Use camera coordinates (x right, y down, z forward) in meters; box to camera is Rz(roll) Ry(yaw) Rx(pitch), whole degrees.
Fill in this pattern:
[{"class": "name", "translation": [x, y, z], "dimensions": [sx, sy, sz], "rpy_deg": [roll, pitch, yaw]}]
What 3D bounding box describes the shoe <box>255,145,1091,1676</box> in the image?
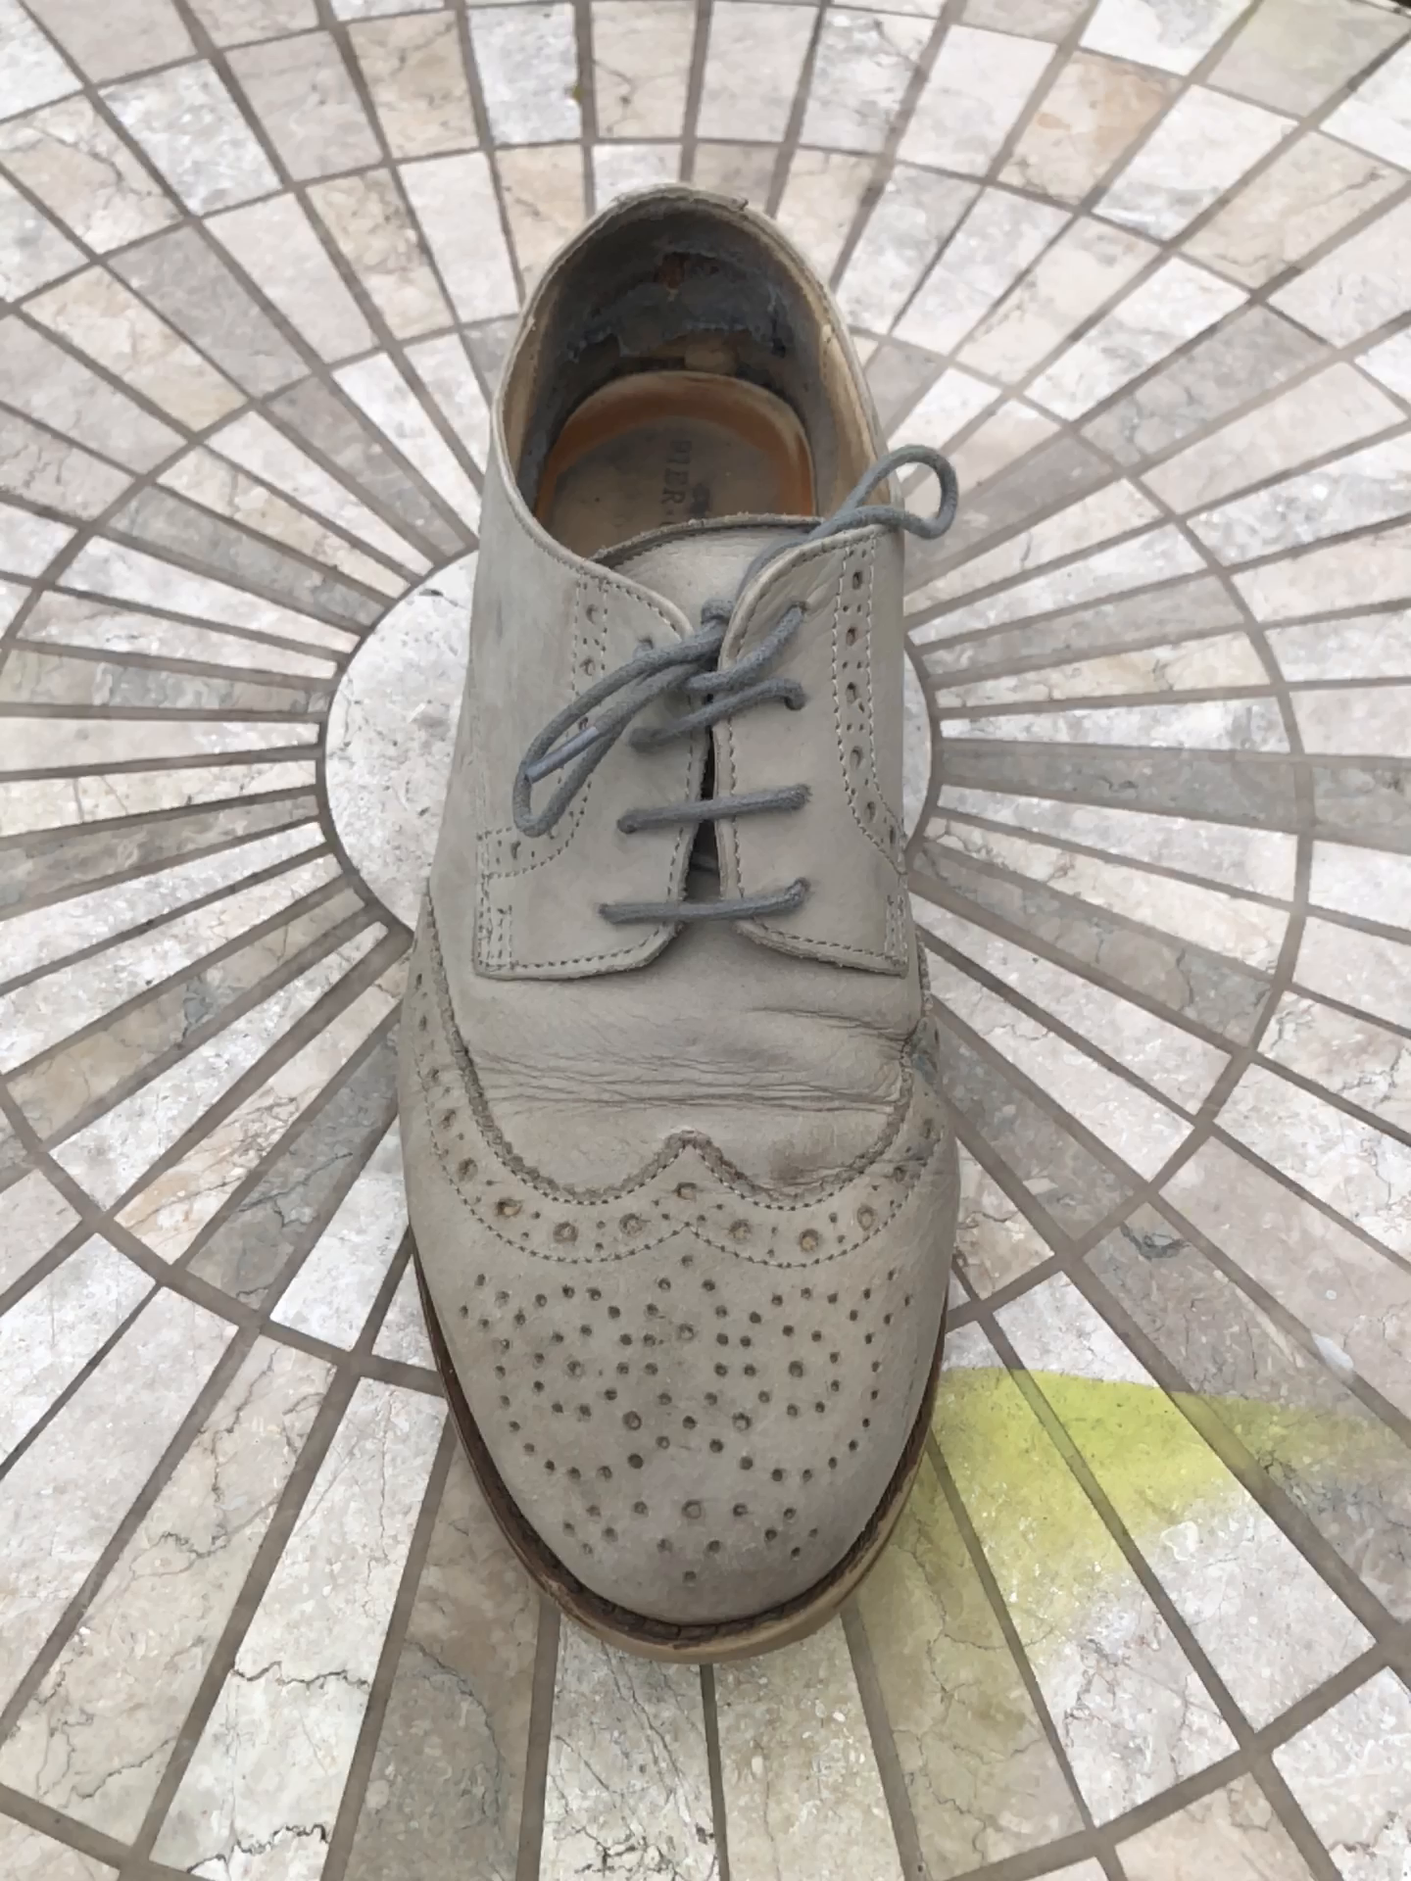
[{"class": "shoe", "translation": [-0.005, -0.020, 0.268], "dimensions": [0.090, 0.078, 0.257], "rpy_deg": [-1, 60, 0]}]
